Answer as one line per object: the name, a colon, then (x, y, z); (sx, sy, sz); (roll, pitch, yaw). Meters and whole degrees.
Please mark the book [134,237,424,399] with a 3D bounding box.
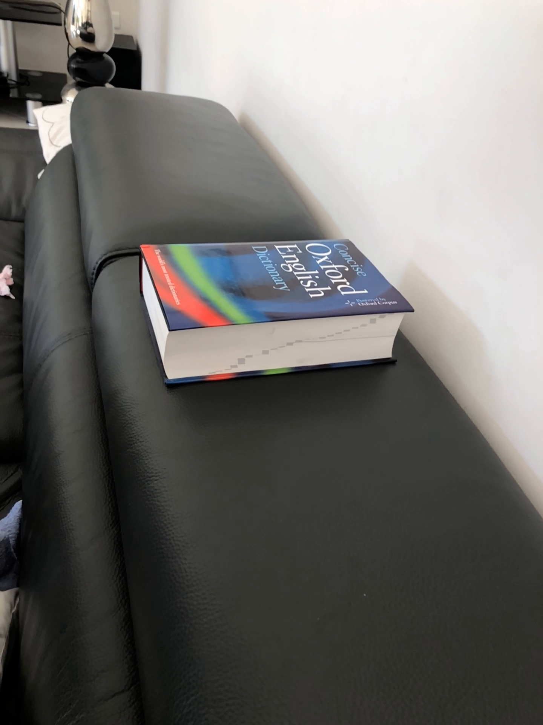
book: (-0.002, -0.057, 0.615); (0.251, 0.070, 0.171); (-5, 39, -20)
